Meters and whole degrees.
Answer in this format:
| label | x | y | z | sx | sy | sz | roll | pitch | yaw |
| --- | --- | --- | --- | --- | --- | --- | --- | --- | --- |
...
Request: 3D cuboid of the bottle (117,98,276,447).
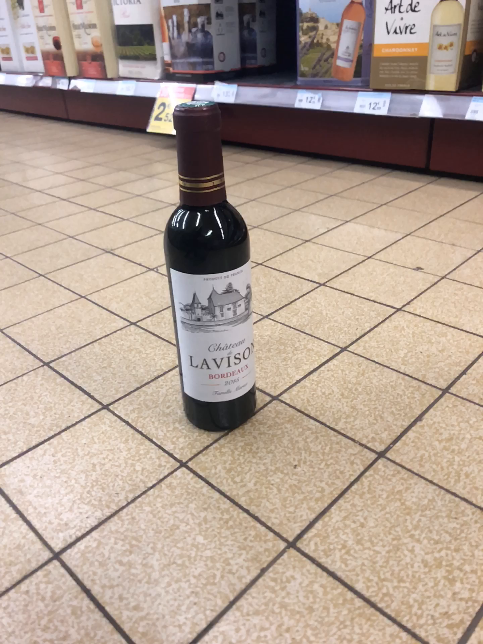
| label | x | y | z | sx | sy | sz | roll | pitch | yaw |
| --- | --- | --- | --- | --- | --- | --- | --- | --- | --- |
| bottle | -0.024 | -0.029 | 0.364 | 0.070 | 0.219 | 0.060 | -17 | 31 | -24 |
